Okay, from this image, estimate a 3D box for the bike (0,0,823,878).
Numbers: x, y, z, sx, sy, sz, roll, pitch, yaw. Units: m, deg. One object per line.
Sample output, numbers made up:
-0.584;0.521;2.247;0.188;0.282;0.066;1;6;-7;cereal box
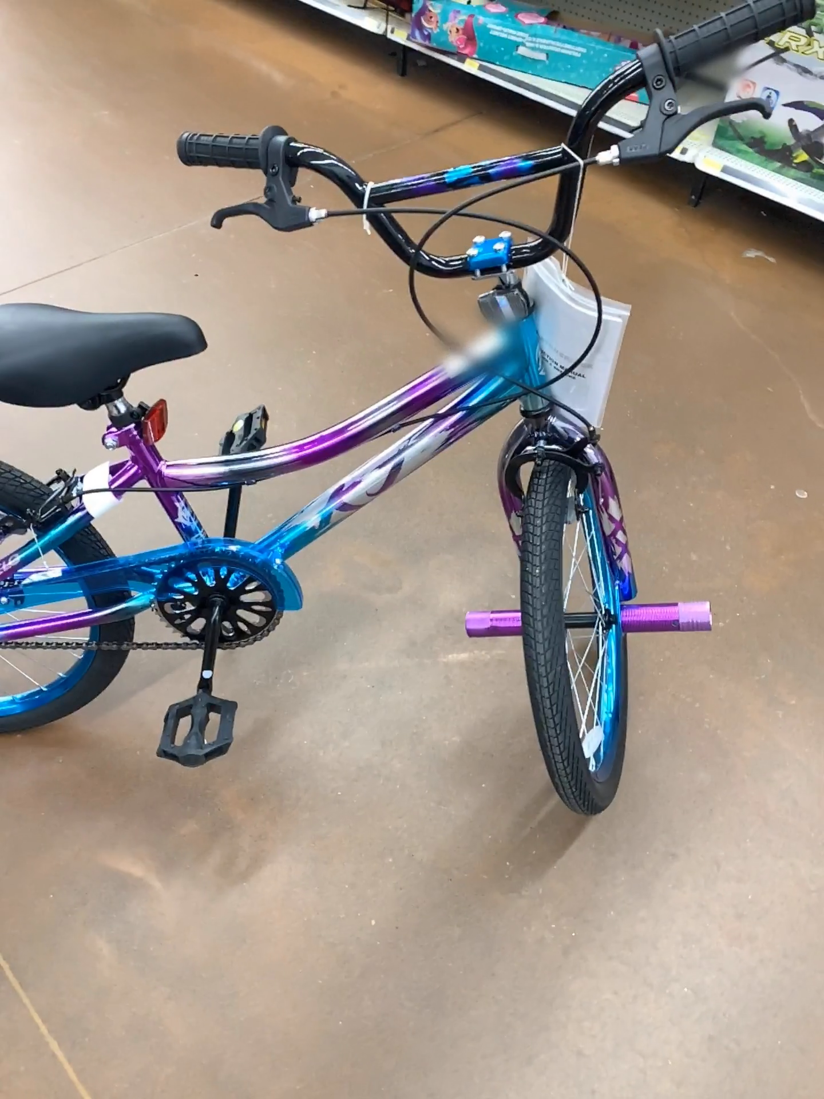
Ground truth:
-0.260;-0.212;1.001;1.120;0.877;0.622;-6;50;-11;bike
